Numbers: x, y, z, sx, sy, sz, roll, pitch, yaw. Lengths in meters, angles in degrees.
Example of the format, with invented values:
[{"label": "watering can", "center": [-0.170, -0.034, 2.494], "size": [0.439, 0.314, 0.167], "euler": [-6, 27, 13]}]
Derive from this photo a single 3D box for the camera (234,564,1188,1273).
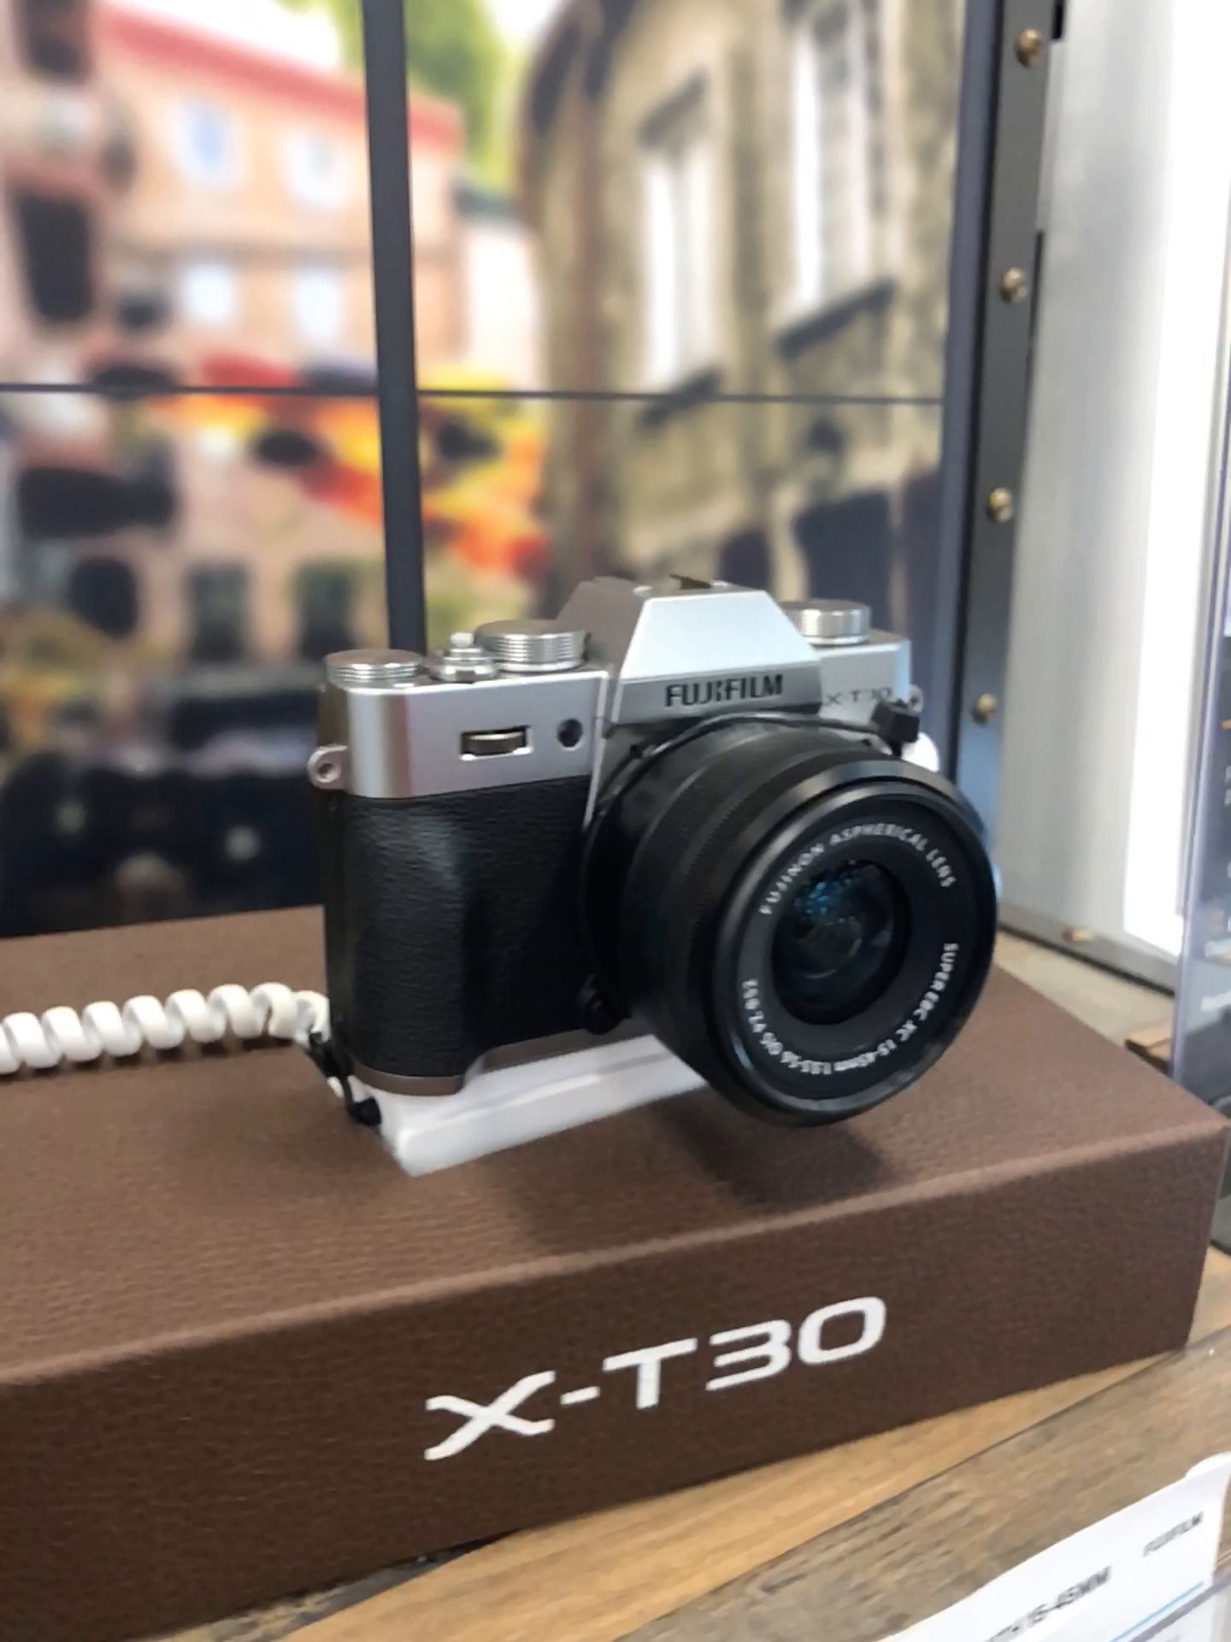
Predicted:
[{"label": "camera", "center": [0.012, 0.003, 0.241], "size": [0.130, 0.080, 0.090], "euler": [-7, 18, -26]}]
